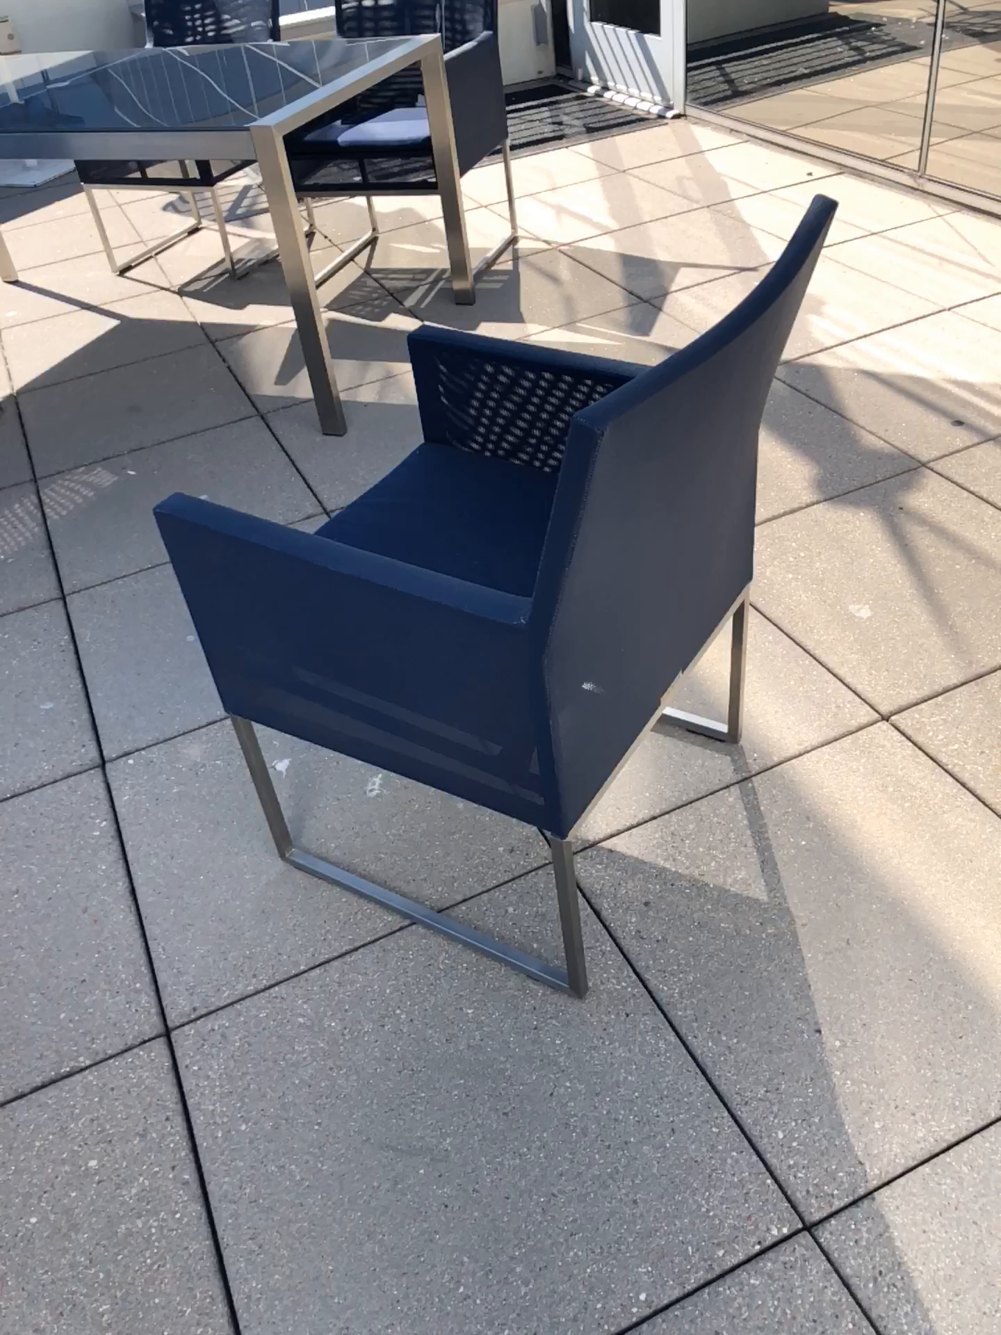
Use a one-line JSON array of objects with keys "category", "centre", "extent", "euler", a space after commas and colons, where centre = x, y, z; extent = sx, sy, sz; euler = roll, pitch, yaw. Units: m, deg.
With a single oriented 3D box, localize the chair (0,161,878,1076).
[{"category": "chair", "centre": [-0.006, -0.112, 1.369], "extent": [0.672, 0.776, 0.652], "euler": [16, 44, 27]}]
